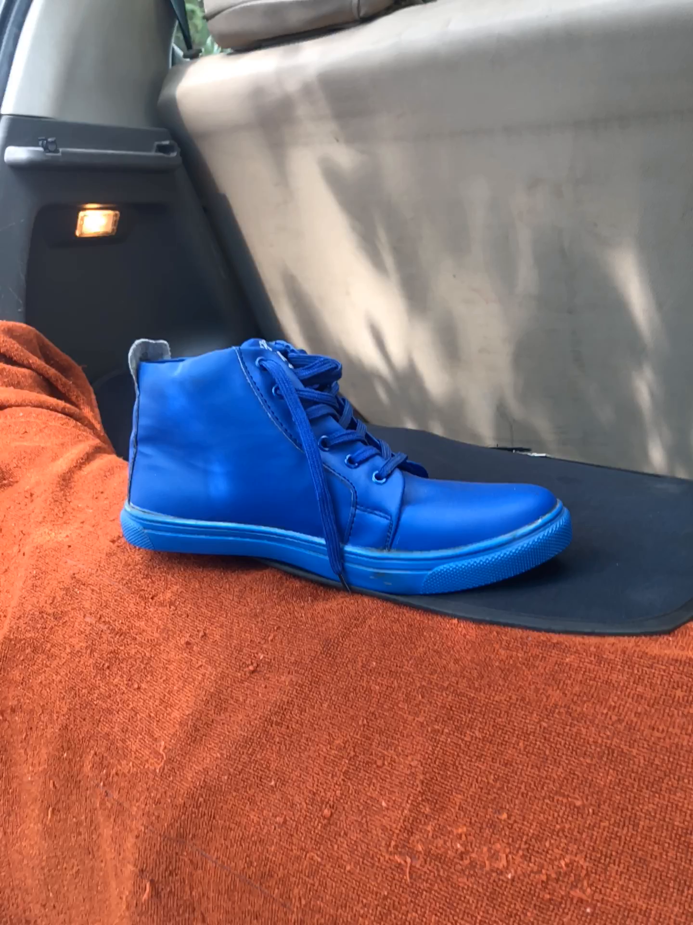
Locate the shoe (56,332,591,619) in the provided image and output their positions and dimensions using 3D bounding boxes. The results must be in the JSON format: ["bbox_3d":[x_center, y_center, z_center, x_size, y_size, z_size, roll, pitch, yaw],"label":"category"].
[{"bbox_3d":[-0.010,-0.009,0.487,0.300,0.120,0.131,5,20,21],"label":"shoe"}]
